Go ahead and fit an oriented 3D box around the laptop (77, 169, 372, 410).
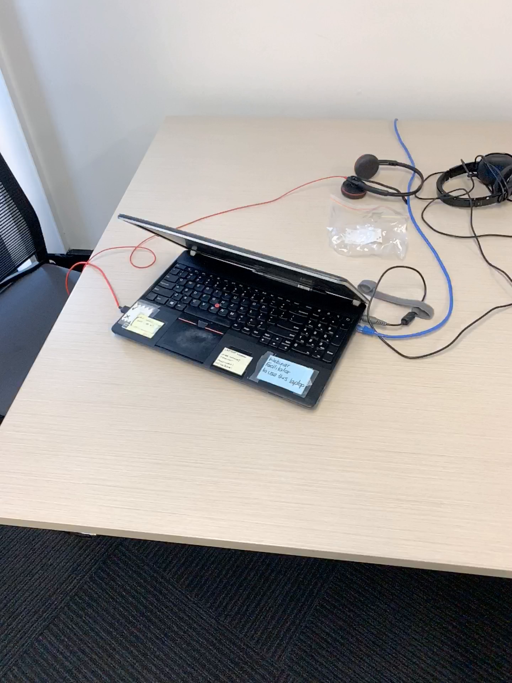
[{"bbox_3d":[-0.033,-0.091,0.731,0.326,0.157,0.227,19,47,21],"label":"laptop"}]
